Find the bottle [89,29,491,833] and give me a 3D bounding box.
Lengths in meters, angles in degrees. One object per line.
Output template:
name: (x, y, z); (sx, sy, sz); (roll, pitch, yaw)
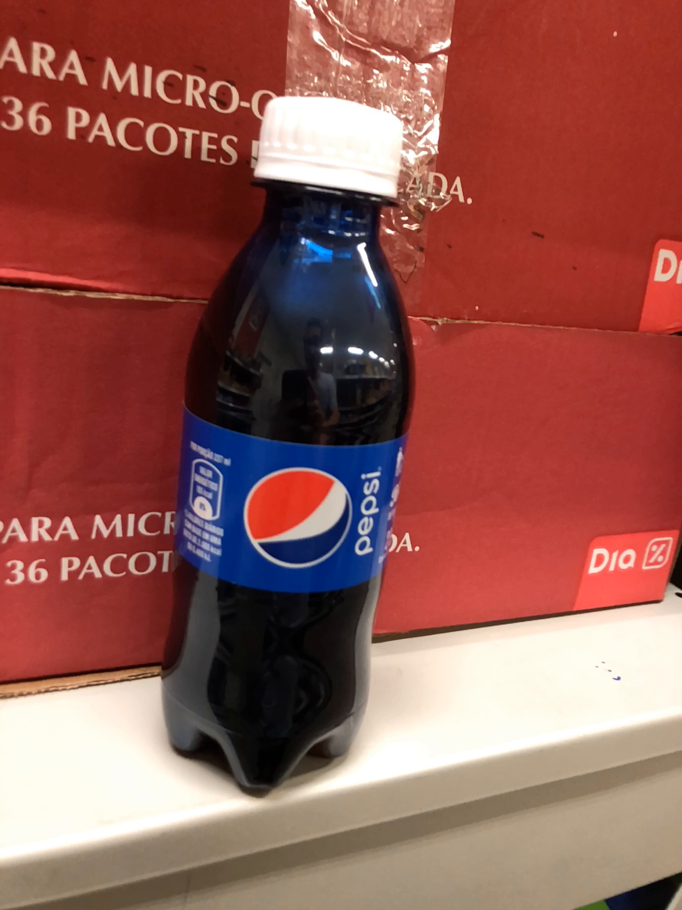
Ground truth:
bottle: (-0.019, -0.004, 0.173); (0.060, 0.149, 0.060); (5, 19, -2)
